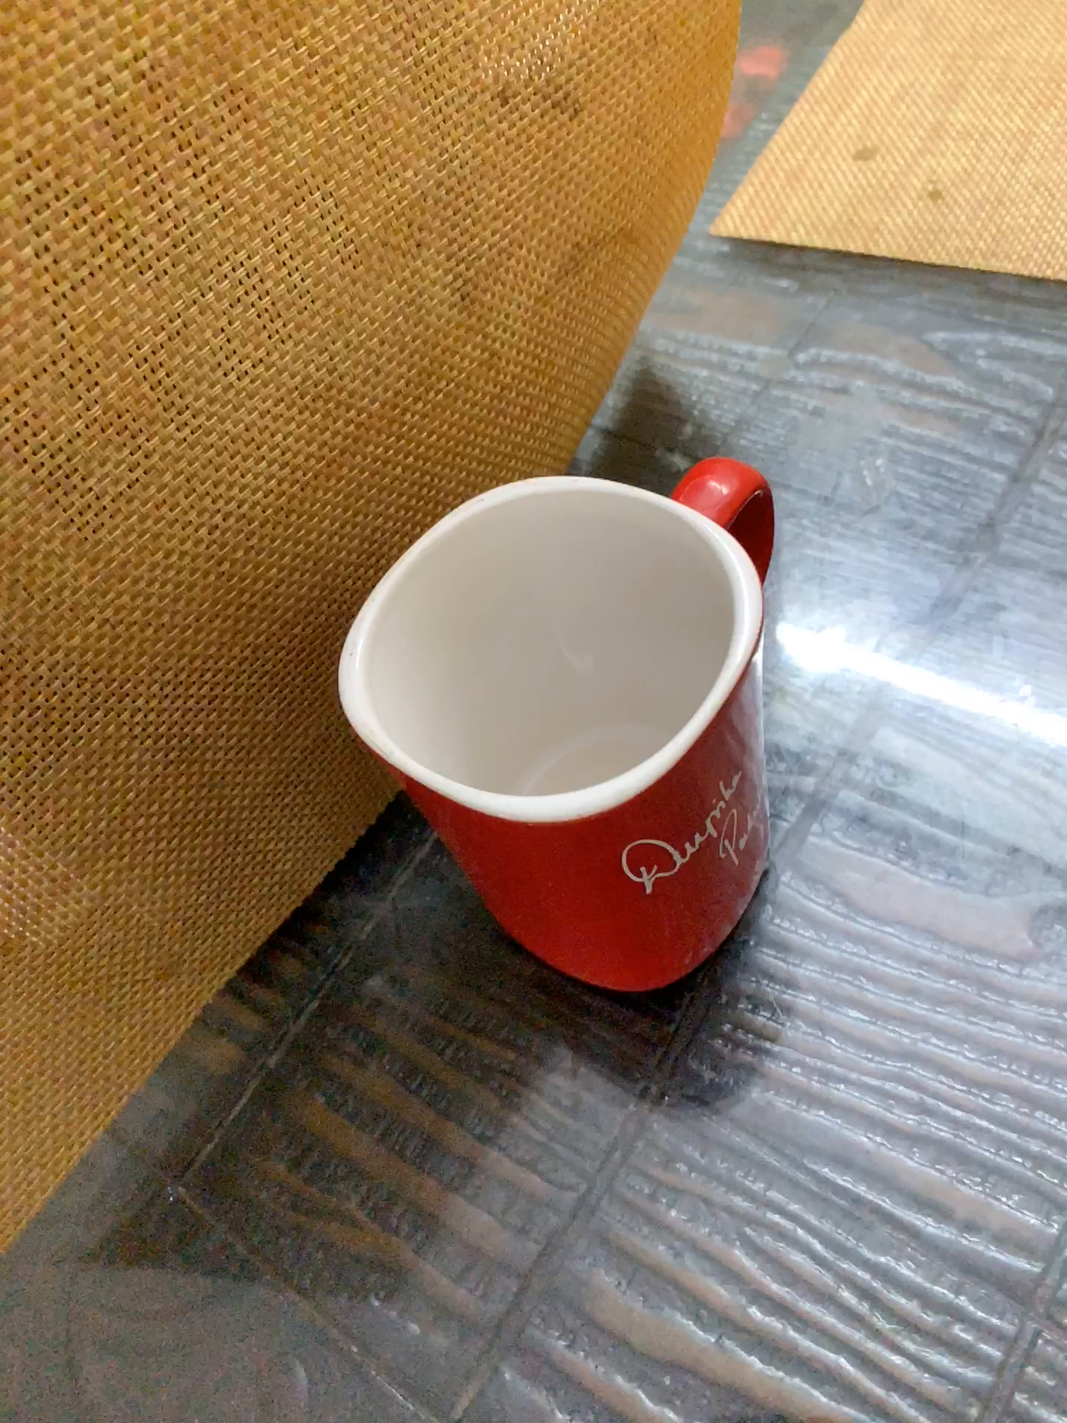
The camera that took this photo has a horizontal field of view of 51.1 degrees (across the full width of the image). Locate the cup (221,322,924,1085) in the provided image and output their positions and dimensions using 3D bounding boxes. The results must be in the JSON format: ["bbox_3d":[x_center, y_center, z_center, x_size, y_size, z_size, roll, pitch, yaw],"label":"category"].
[{"bbox_3d":[0.015,-0.002,0.213,0.070,0.079,0.100,28,68,29],"label":"cup"}]
